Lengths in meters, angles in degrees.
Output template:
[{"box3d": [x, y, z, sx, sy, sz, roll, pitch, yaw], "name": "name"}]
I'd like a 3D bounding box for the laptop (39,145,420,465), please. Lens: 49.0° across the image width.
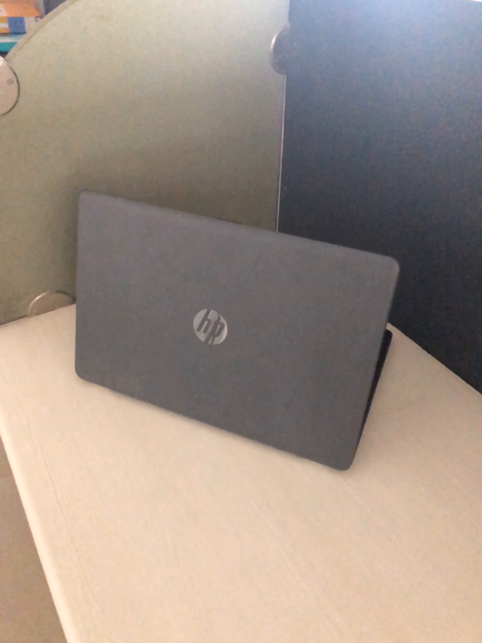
[{"box3d": [-0.005, -0.043, 0.658, 0.360, 0.215, 0.239, 16, 43, 20], "name": "laptop"}]
